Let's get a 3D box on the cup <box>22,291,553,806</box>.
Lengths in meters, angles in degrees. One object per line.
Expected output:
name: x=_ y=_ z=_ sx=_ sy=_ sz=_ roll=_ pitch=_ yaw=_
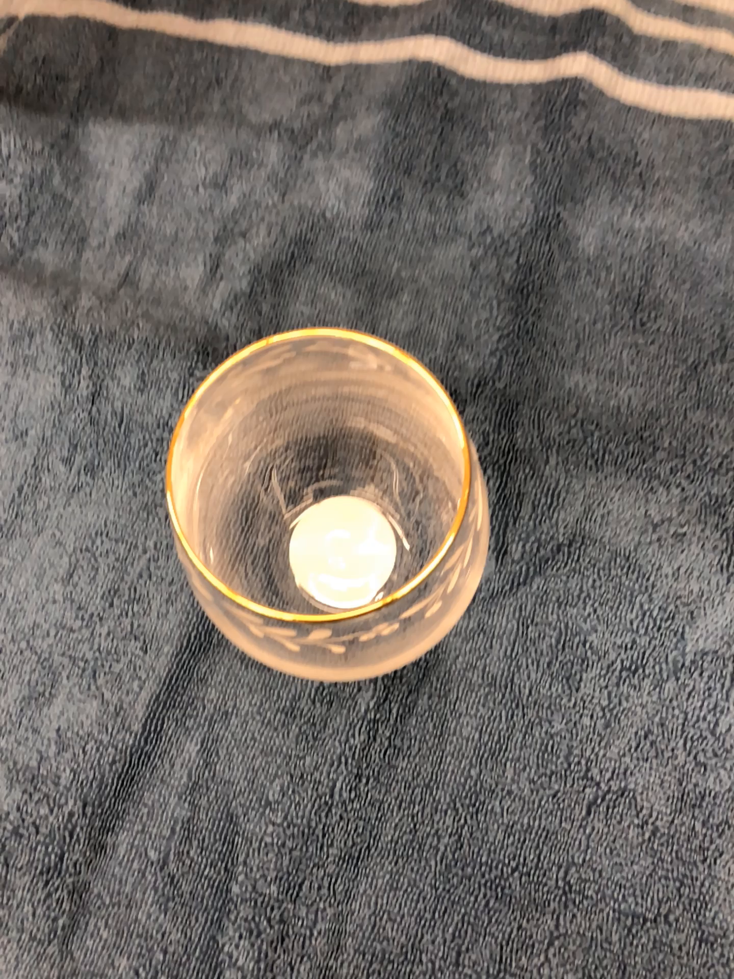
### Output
cup: x=-0.012 y=0.020 z=0.216 sx=0.090 sy=0.100 sz=0.090 roll=-1 pitch=75 yaw=2
